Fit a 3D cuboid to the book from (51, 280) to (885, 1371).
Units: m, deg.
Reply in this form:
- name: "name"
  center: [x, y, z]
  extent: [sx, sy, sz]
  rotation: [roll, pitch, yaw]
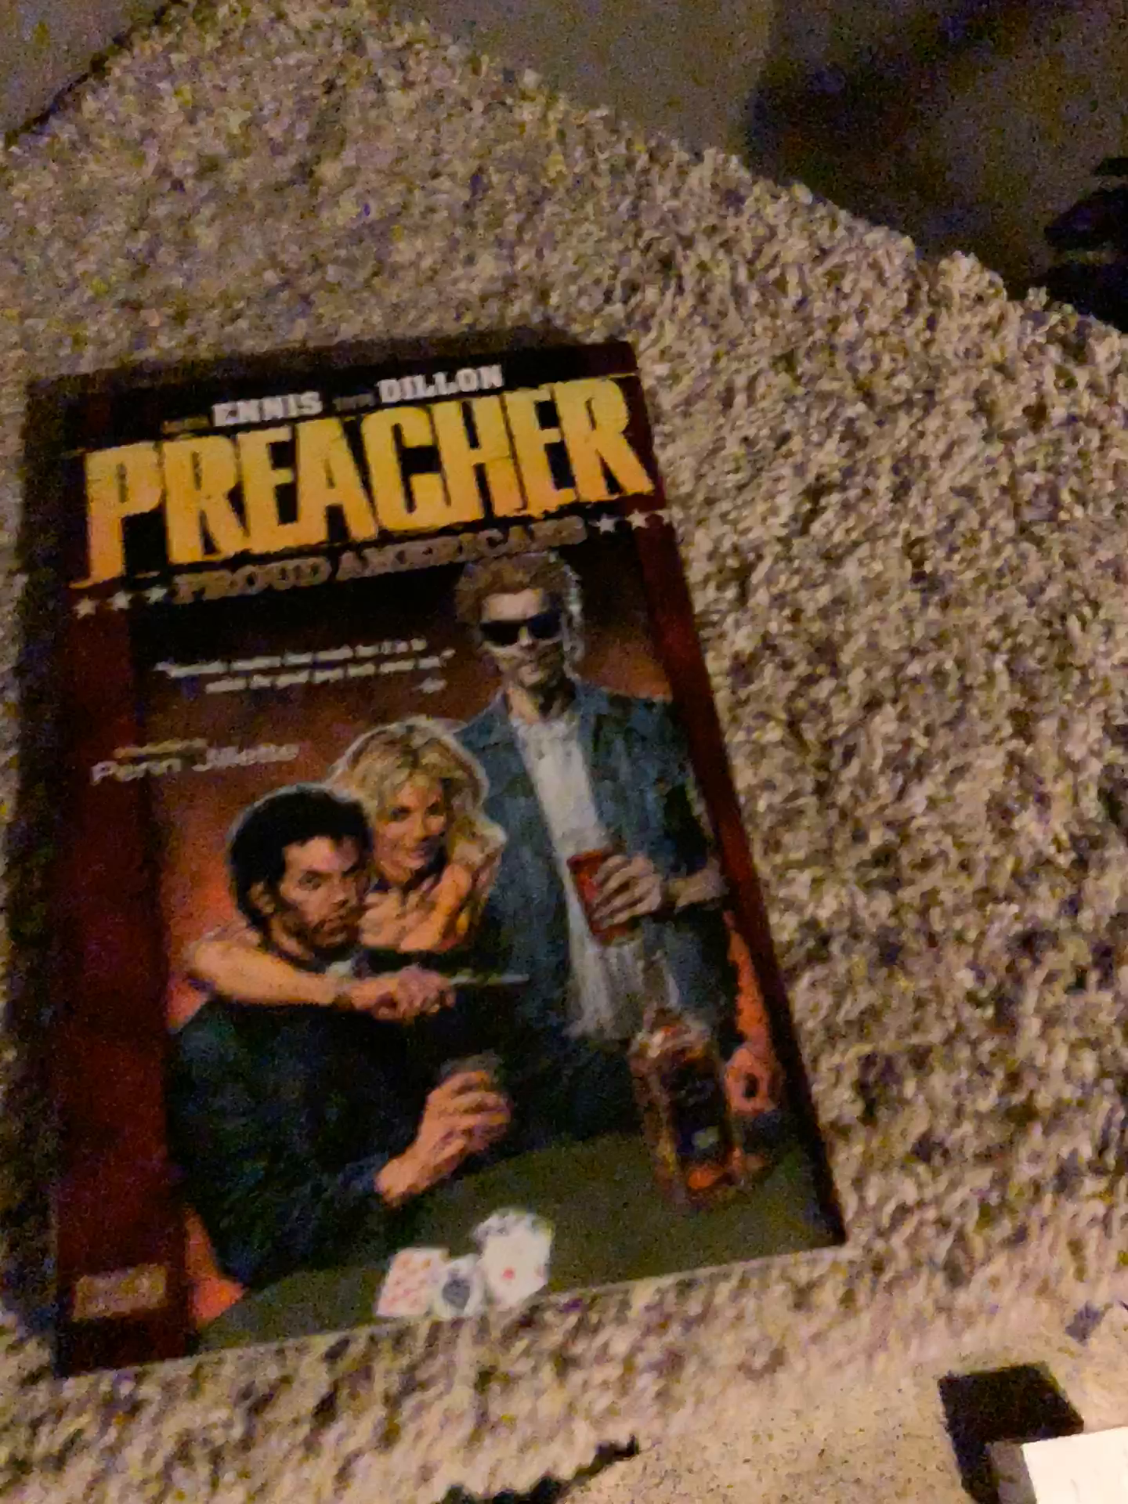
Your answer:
- name: "book"
  center: [-0.040, -0.006, 0.321]
  extent: [0.170, 0.020, 0.270]
  rotation: [-9, 65, -7]

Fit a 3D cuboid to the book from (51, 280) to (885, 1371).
- name: "book"
  center: [-0.040, -0.006, 0.321]
  extent: [0.170, 0.020, 0.270]
  rotation: [-9, 65, -7]
